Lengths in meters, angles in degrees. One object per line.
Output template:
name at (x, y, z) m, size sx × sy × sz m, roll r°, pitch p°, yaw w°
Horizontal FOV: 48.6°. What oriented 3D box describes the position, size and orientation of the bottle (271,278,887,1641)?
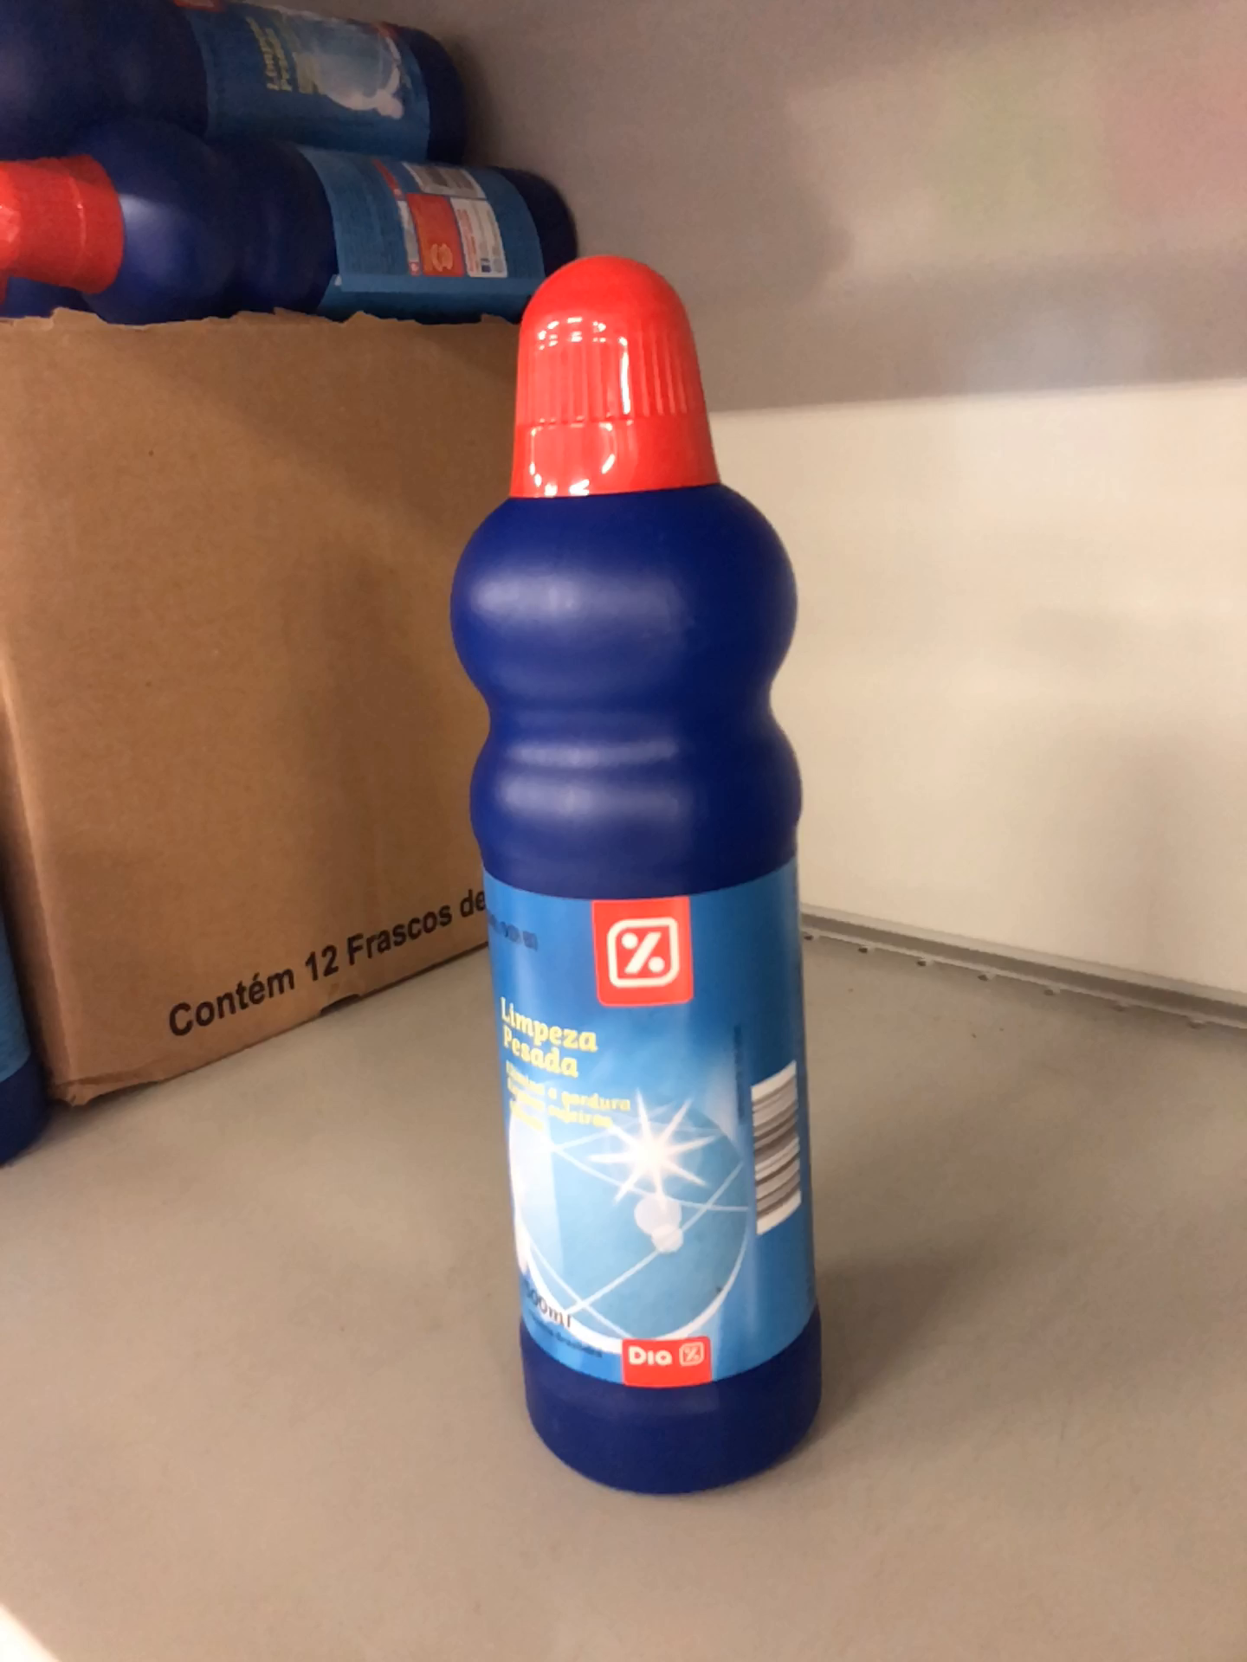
bottle at (0.000, 0.024, 0.272) m, size 0.070 × 0.239 × 0.070 m, roll -5°, pitch 16°, yaw 1°
